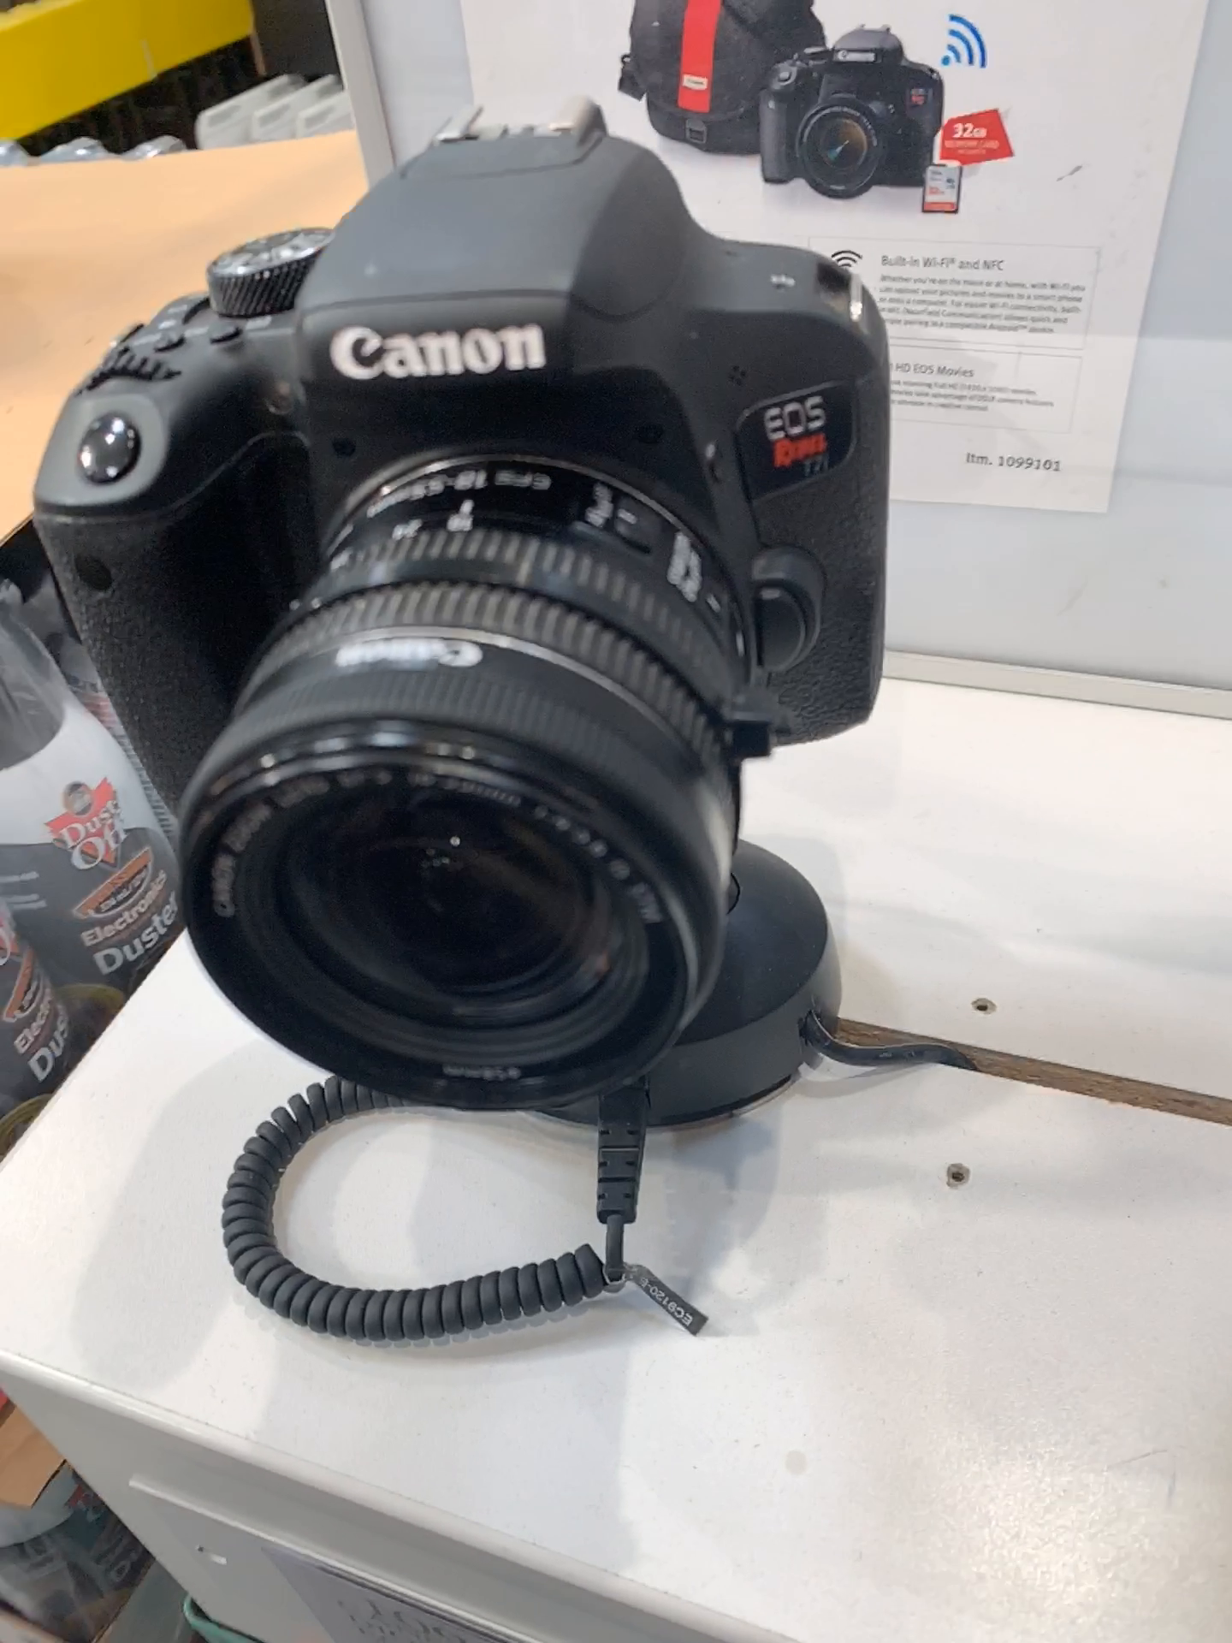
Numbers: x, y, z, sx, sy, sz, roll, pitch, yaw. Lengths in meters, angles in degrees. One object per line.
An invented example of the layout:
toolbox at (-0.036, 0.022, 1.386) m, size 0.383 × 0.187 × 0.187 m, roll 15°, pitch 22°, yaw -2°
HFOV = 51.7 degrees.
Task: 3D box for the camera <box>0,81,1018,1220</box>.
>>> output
camera at (-0.025, -0.030, 0.172) m, size 0.134 × 0.089 × 0.121 m, roll 2°, pitch 42°, yaw 10°
